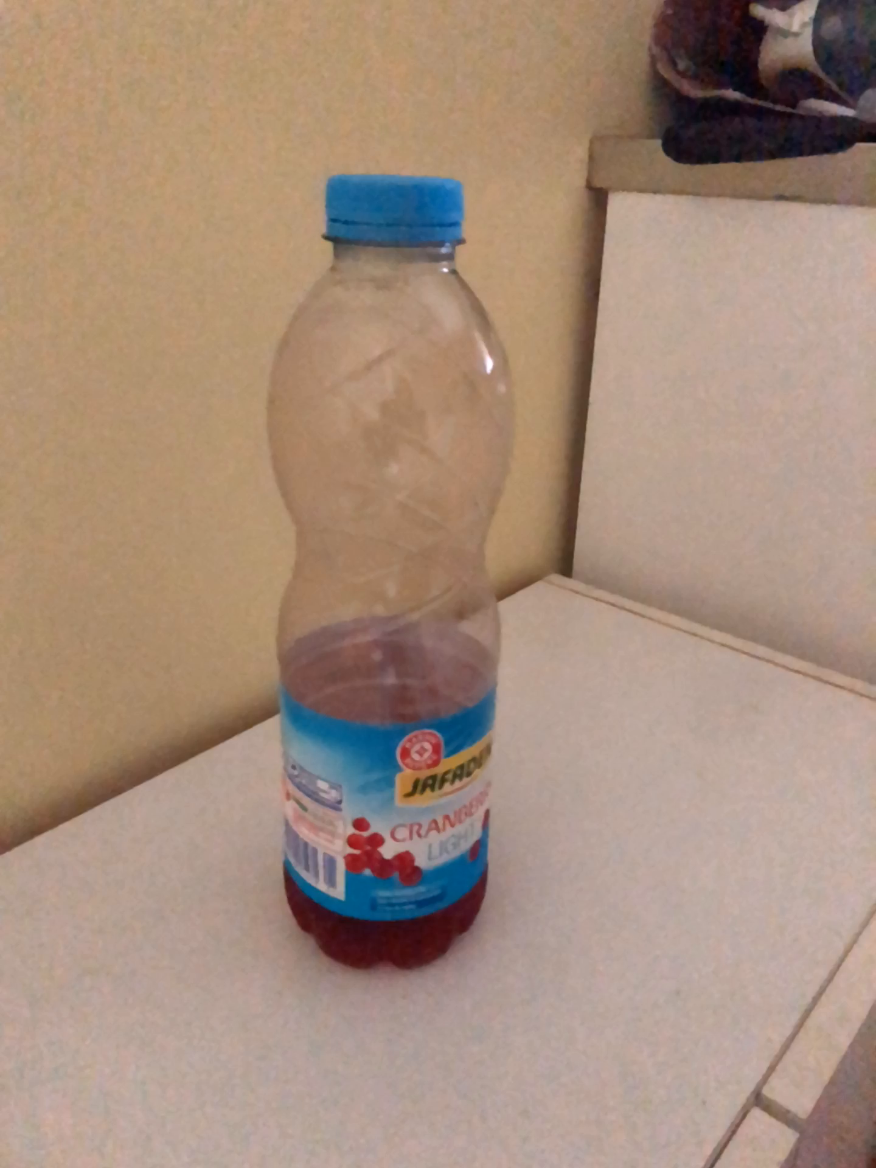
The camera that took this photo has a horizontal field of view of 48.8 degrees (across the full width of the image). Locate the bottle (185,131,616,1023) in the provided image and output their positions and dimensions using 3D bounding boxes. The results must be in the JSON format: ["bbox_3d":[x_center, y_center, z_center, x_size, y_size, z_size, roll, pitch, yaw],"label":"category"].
[{"bbox_3d":[-0.013,-0.001,0.323,0.080,0.269,0.090,22,31,39],"label":"bottle"}]
